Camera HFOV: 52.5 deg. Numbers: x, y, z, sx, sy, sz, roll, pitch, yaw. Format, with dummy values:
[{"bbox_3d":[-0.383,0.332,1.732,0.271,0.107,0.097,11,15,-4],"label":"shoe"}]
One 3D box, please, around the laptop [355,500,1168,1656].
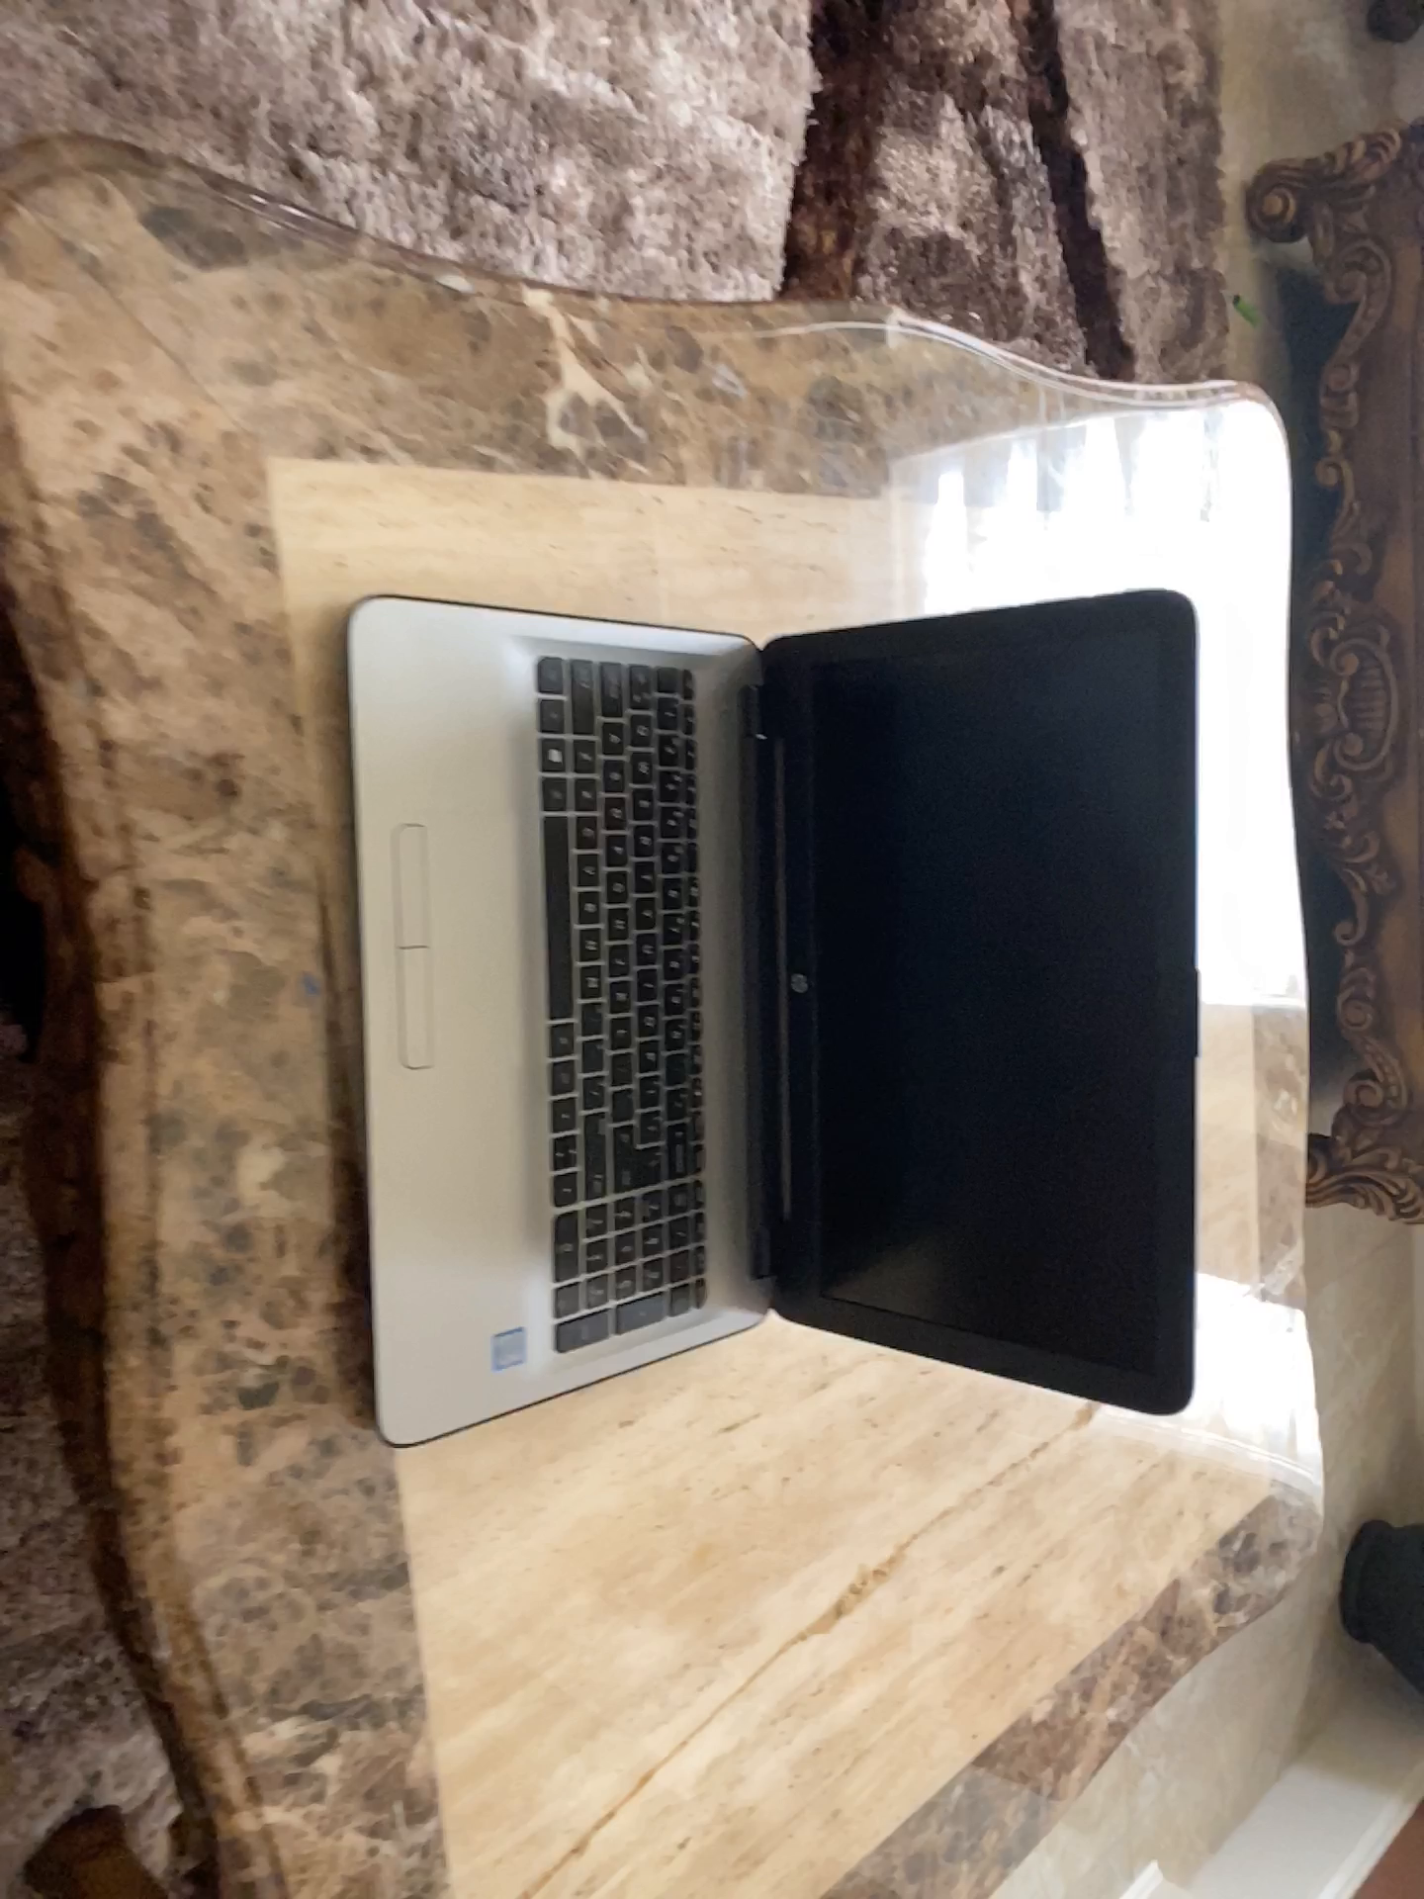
[{"bbox_3d":[0.028,0.033,0.640,0.266,0.240,0.371,-6,97,-45],"label":"laptop"}]
